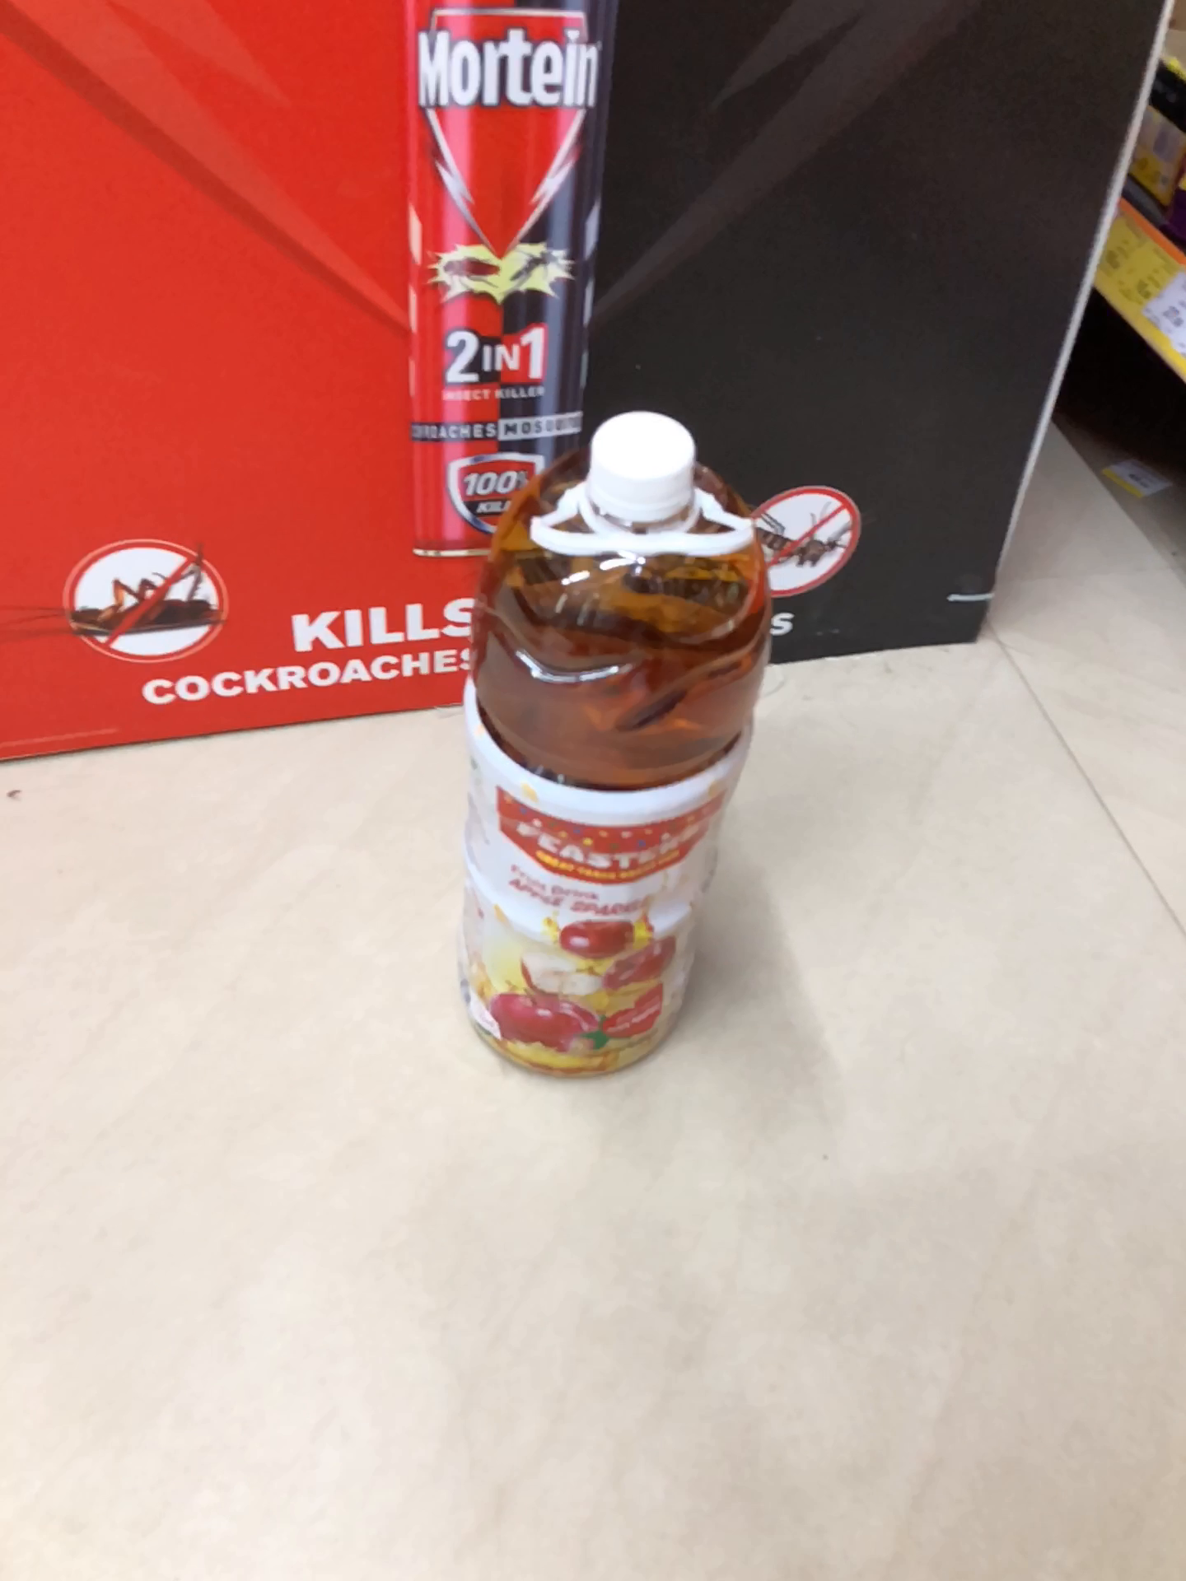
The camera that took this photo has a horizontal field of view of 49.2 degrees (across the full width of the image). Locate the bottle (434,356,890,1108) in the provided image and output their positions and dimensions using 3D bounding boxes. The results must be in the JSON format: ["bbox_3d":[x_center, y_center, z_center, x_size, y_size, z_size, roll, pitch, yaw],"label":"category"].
[{"bbox_3d":[0.010,-0.001,0.475,0.120,0.278,0.101,3,47,-3],"label":"bottle"}]
